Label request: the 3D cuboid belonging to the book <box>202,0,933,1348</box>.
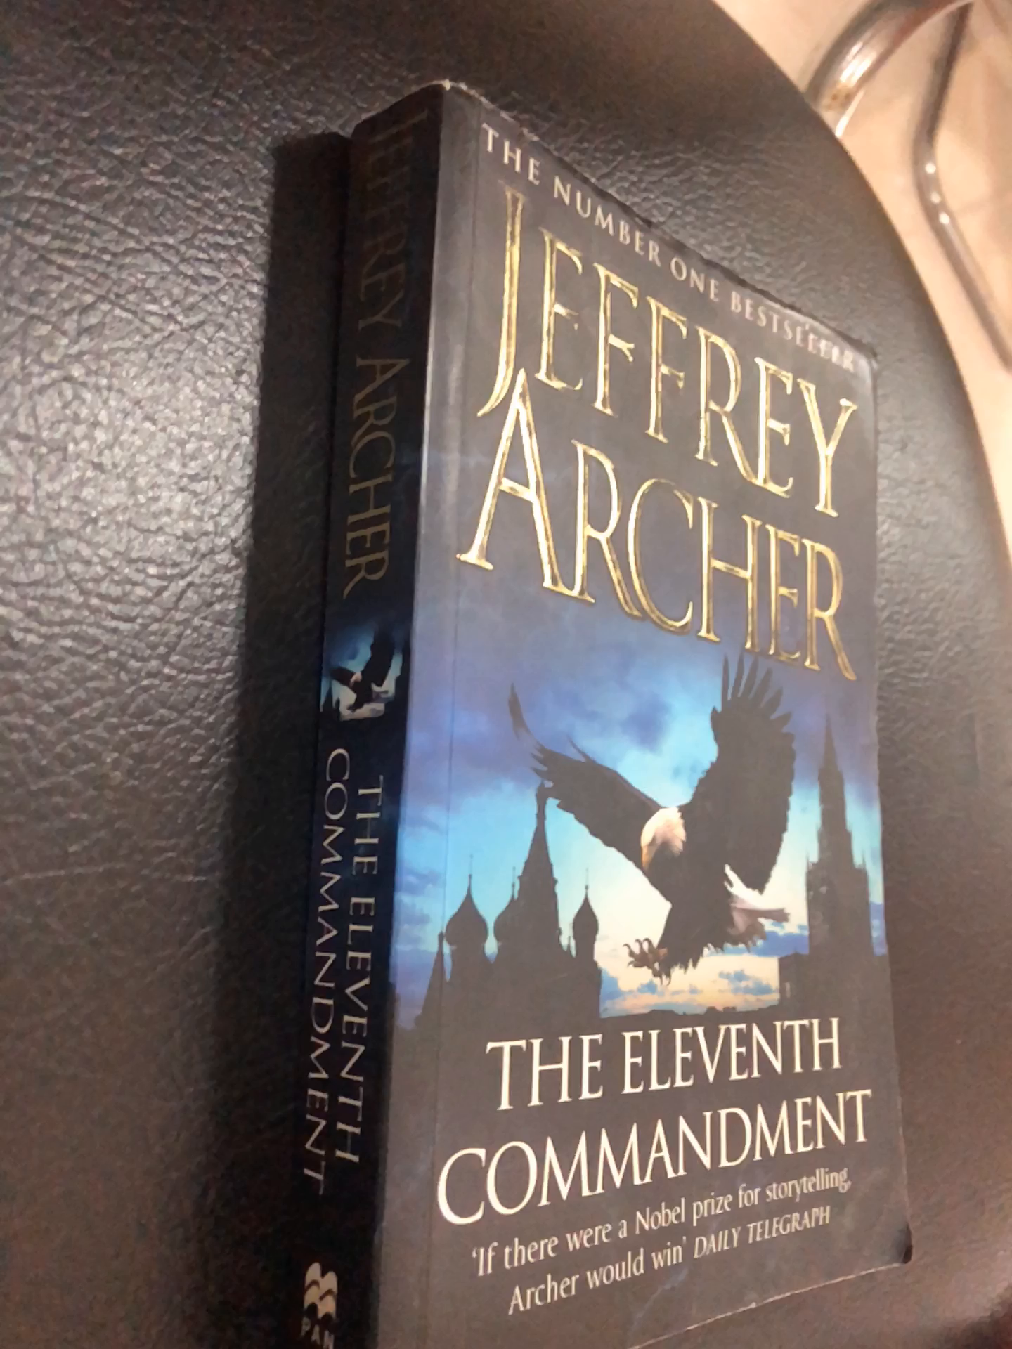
[{"bbox_3d":[0.026,0.002,0.200,0.131,0.040,0.200,14,75,-44],"label":"book"}]
